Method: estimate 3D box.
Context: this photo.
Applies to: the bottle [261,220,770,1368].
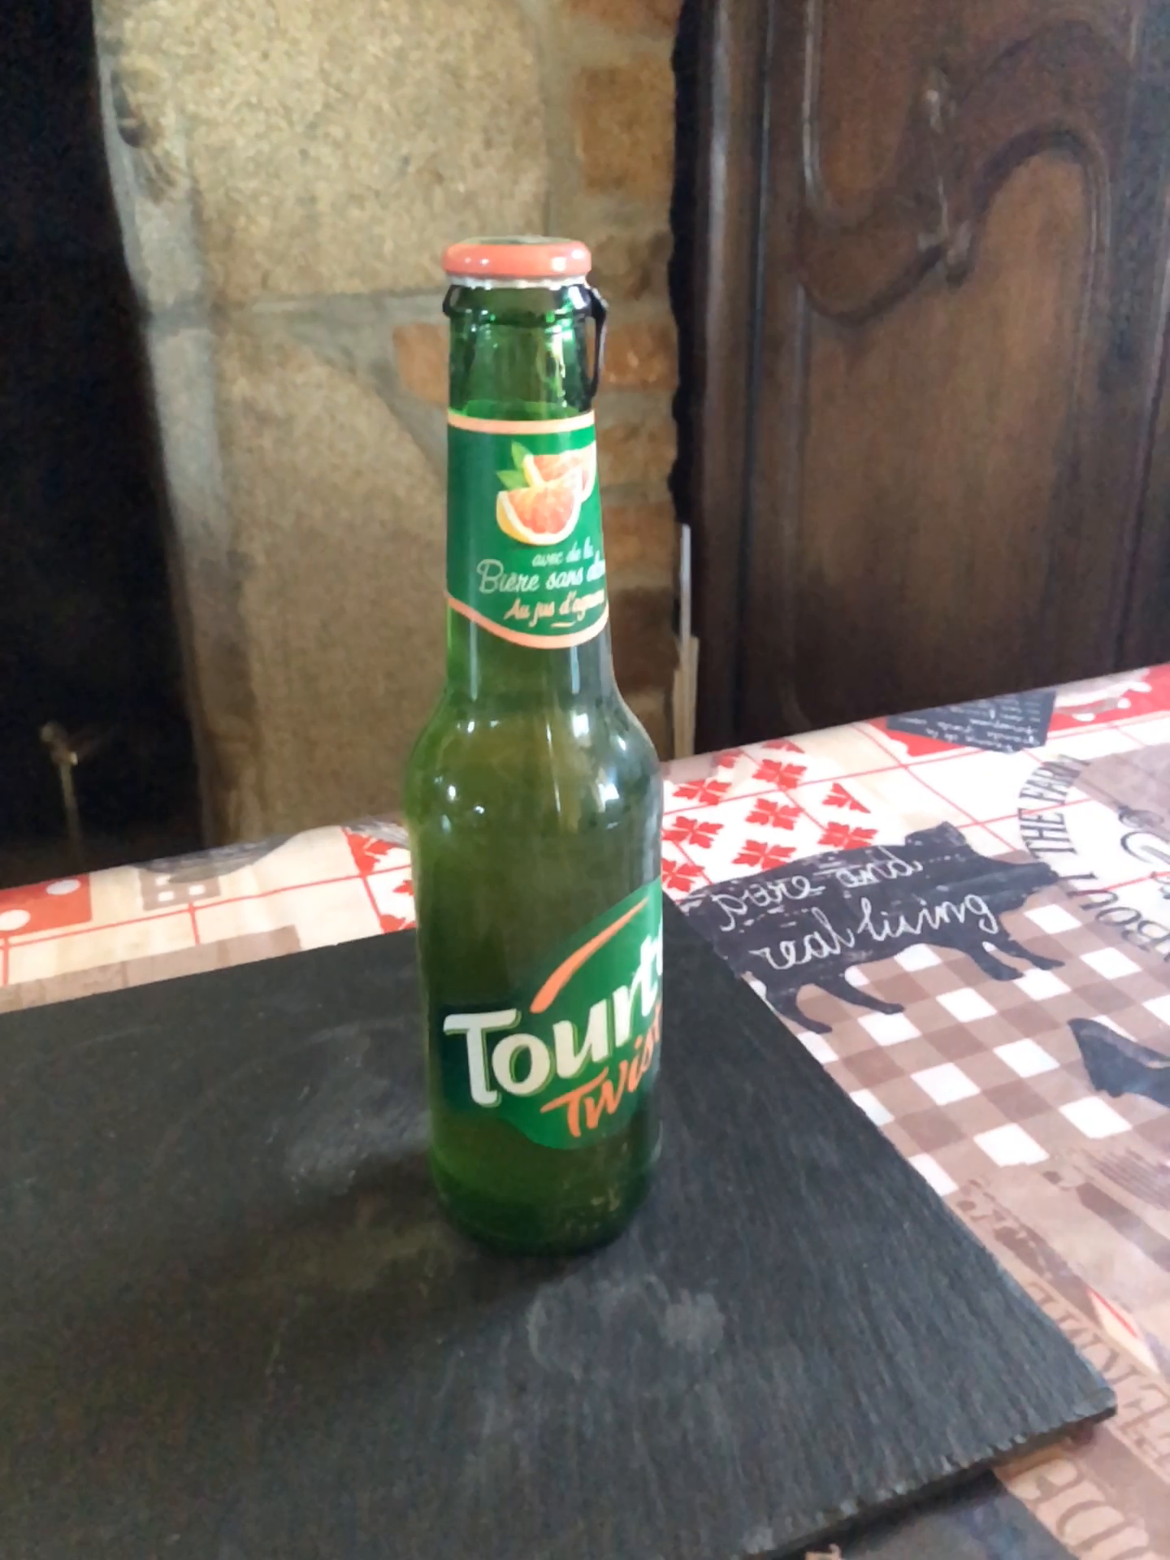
[{"bbox_3d":[-0.013,0.005,0.278,0.070,0.229,0.060,-16,28,-31],"label":"bottle"}]
